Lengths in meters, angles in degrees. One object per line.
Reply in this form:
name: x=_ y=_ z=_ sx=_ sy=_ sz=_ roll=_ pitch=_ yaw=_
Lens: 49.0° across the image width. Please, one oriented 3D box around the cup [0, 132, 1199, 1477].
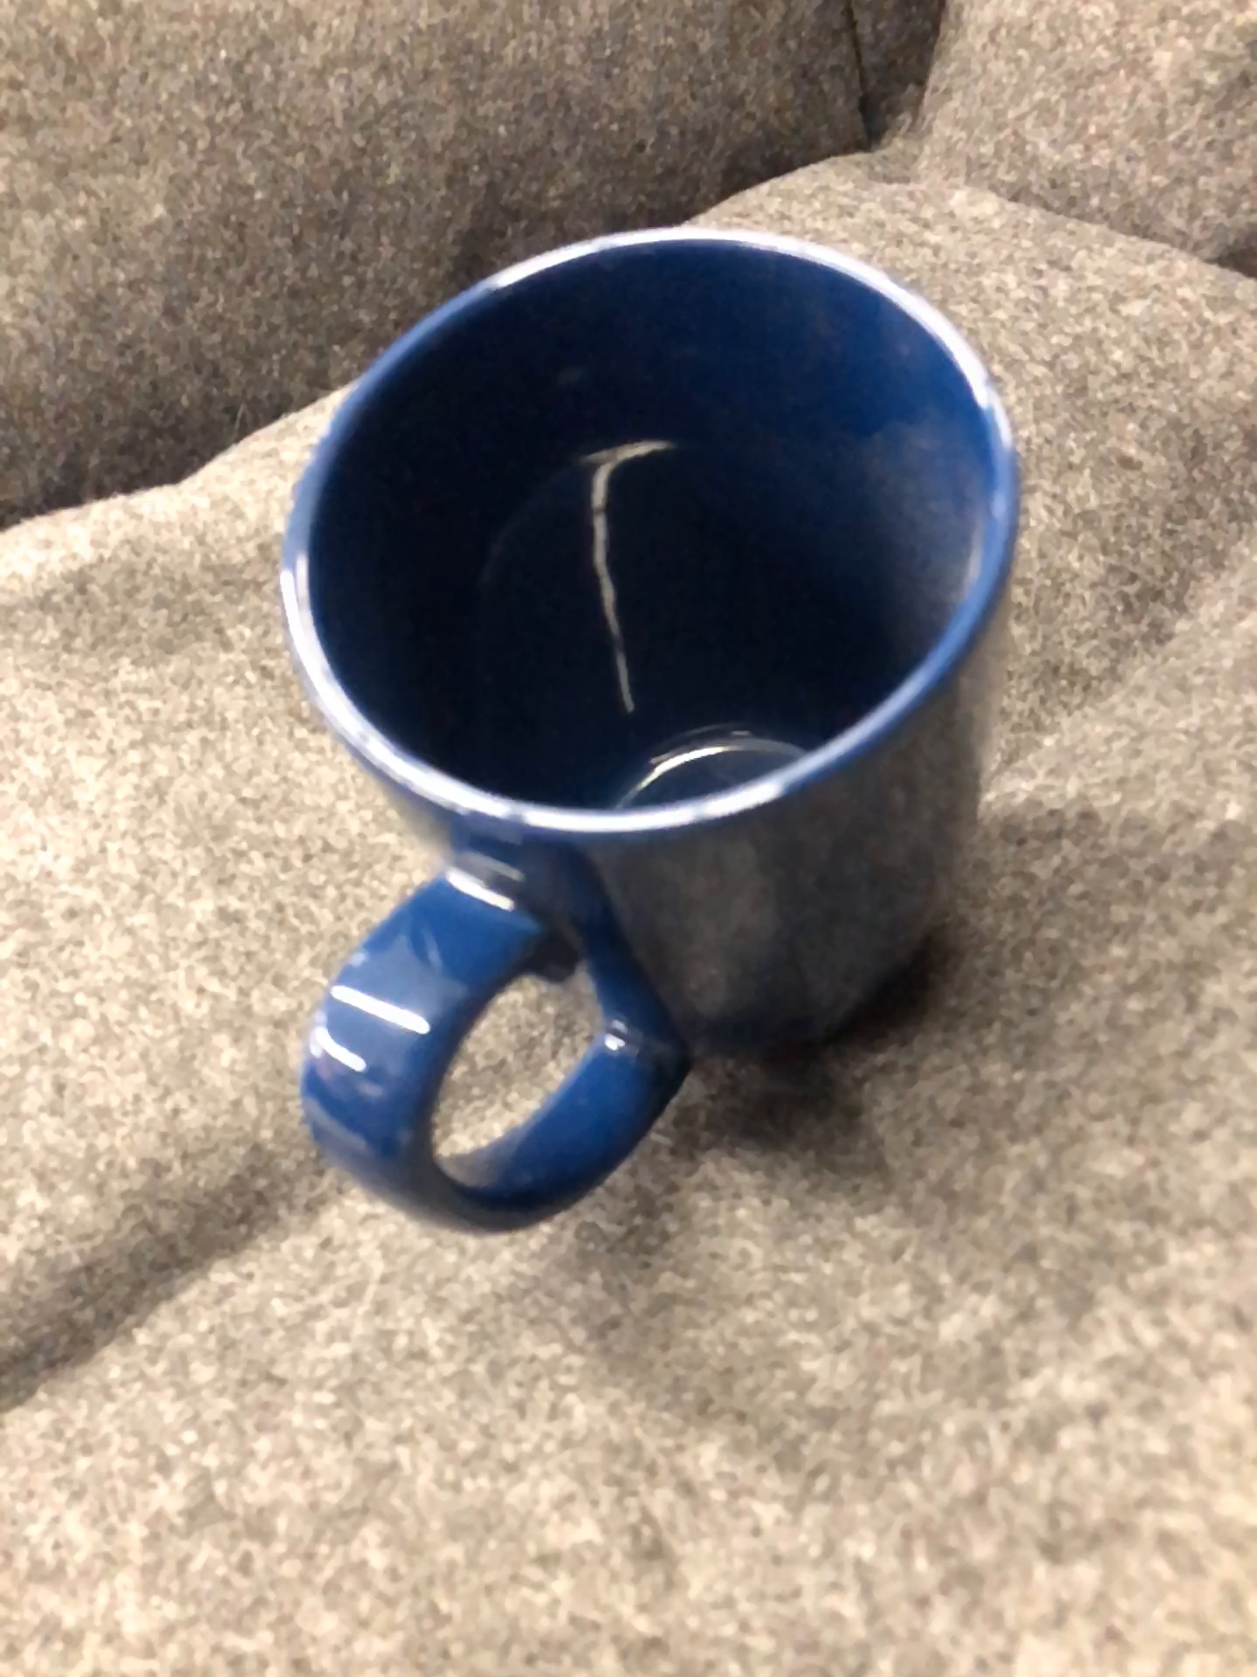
cup: x=0.000 y=-0.002 z=0.196 sx=0.090 sy=0.109 sz=0.130 roll=28 pitch=69 yaw=25
